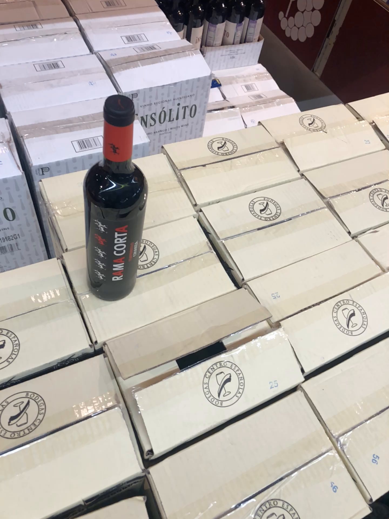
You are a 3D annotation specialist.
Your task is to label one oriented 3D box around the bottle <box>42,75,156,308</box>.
[{"bbox_3d":[-0.104,-0.053,0.513,0.090,0.298,0.090,4,56,-7],"label":"bottle"}]
